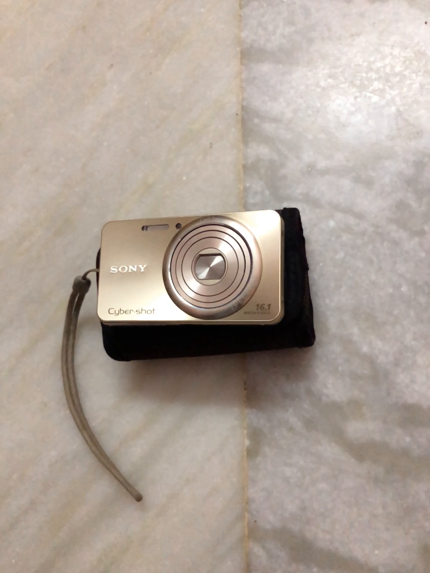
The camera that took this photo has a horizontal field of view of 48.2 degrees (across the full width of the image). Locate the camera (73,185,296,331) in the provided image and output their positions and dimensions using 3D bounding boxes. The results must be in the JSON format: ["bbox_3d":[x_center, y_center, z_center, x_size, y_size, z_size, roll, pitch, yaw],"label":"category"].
[{"bbox_3d":[-0.014,-0.010,0.223,0.100,0.020,0.060,-2,78,16],"label":"camera"}]
